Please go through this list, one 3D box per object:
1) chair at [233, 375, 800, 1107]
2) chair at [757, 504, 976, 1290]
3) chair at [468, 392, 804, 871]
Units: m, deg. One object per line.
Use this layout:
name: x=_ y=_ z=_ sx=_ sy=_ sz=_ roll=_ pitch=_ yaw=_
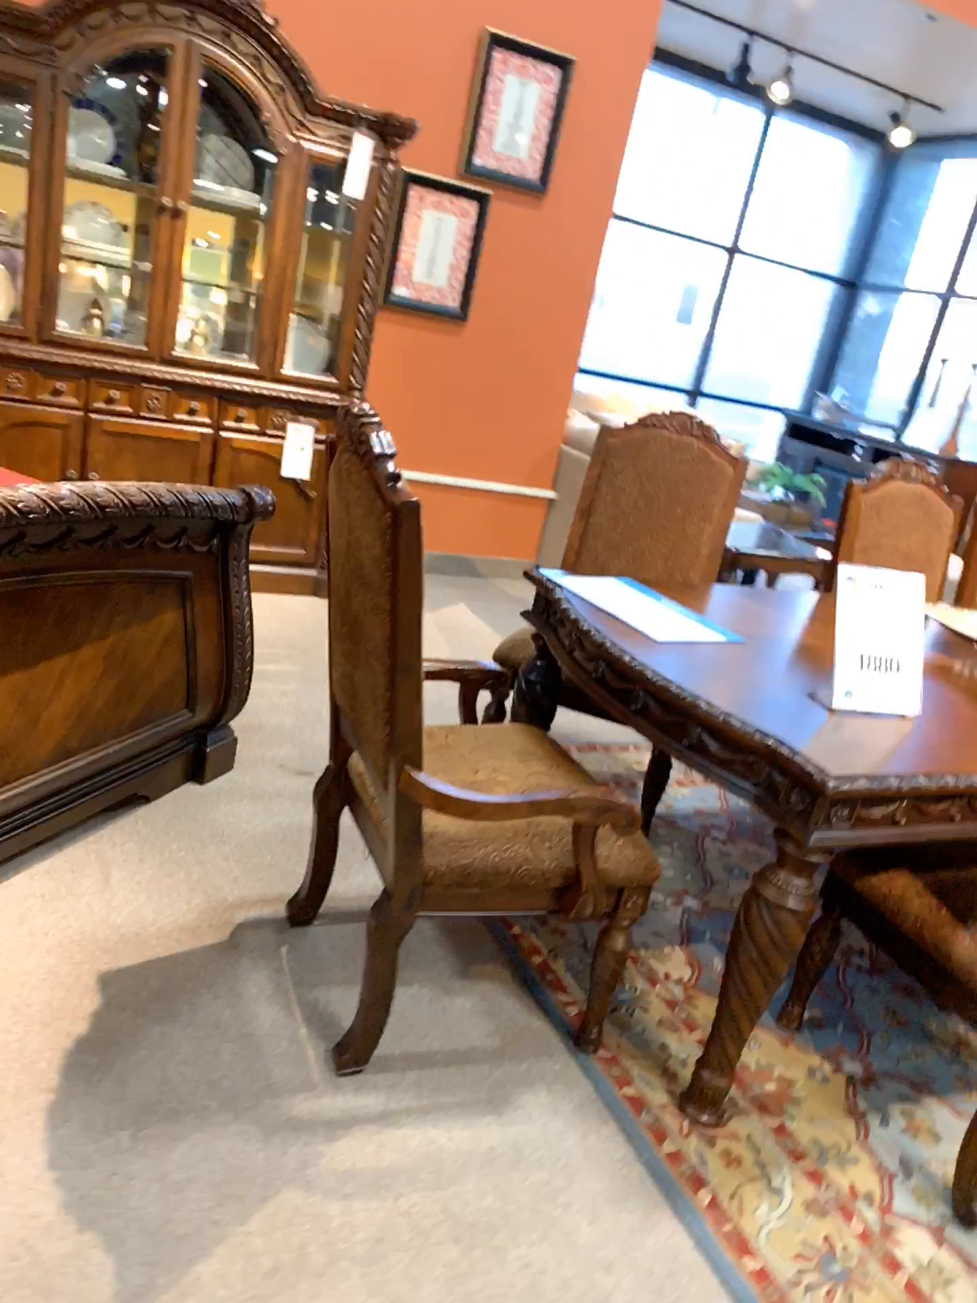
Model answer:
chair: x=-0.028 y=0.148 z=1.880 sx=0.670 sy=1.125 sz=0.585 roll=4 pitch=20 yaw=-25
chair: x=1.058 y=0.398 z=1.803 sx=0.564 sy=1.135 sz=0.621 roll=4 pitch=20 yaw=-24
chair: x=0.449 y=-0.107 z=2.982 sx=0.603 sy=1.185 sz=0.672 roll=17 pitch=19 yaw=14
